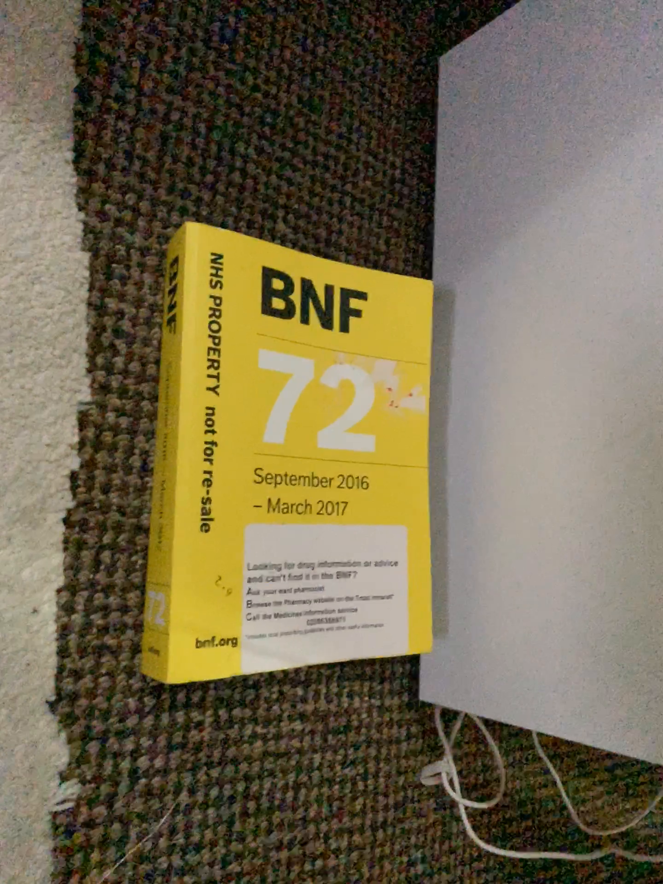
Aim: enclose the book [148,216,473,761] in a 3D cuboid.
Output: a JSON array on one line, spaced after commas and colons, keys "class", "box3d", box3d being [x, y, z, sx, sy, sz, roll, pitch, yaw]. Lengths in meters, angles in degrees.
[{"class": "book", "box3d": [-0.002, 0.022, 0.345, 0.161, 0.050, 0.220, 6, 81, -39]}]
